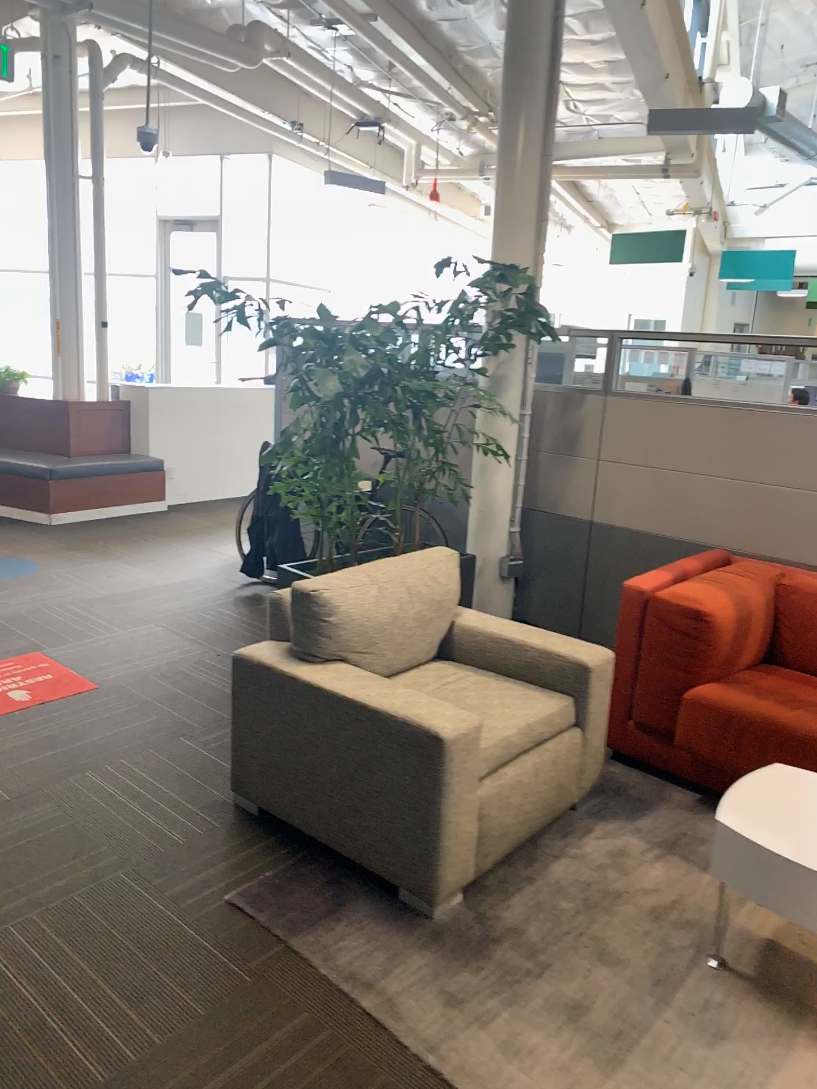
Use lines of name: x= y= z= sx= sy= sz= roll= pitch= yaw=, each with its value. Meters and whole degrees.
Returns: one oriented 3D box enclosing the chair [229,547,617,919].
chair: x=0.050 y=0.511 z=2.783 sx=0.872 sy=0.728 sz=0.921 roll=14 pitch=16 yaw=38
